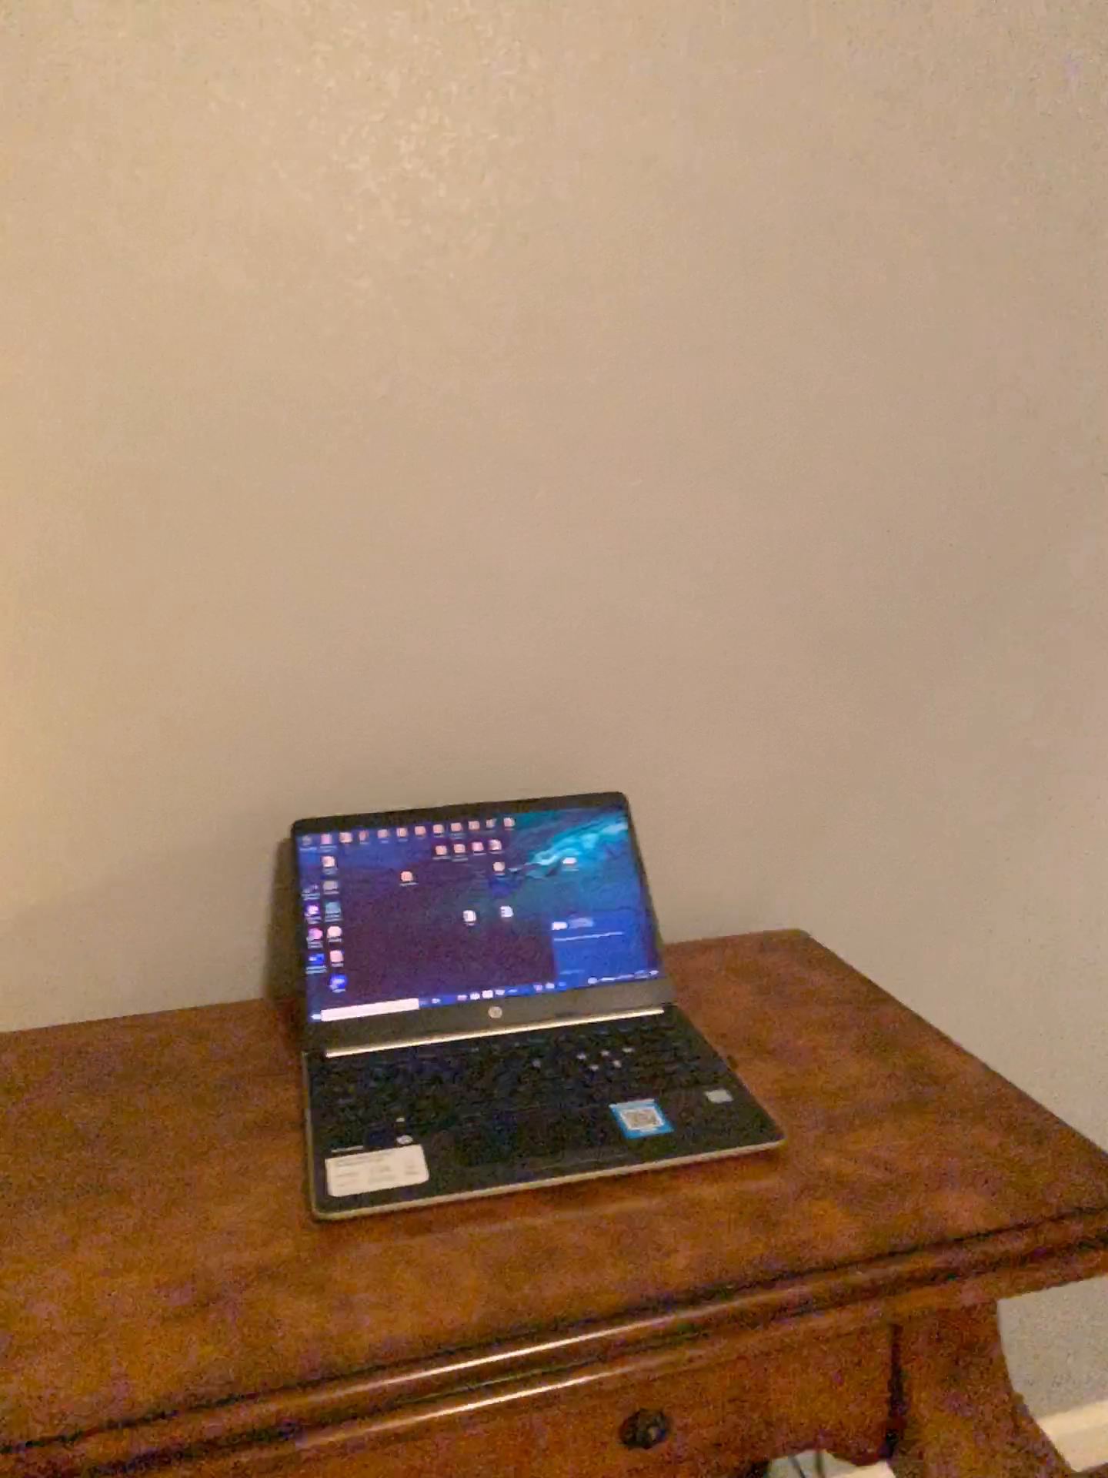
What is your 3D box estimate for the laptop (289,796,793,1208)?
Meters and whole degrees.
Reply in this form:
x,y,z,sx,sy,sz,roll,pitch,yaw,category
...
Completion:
x,y,z,sx,sy,sz,roll,pitch,yaw,category
-0.039,0.174,0.907,0.317,0.152,0.368,-4,11,-14,laptop
